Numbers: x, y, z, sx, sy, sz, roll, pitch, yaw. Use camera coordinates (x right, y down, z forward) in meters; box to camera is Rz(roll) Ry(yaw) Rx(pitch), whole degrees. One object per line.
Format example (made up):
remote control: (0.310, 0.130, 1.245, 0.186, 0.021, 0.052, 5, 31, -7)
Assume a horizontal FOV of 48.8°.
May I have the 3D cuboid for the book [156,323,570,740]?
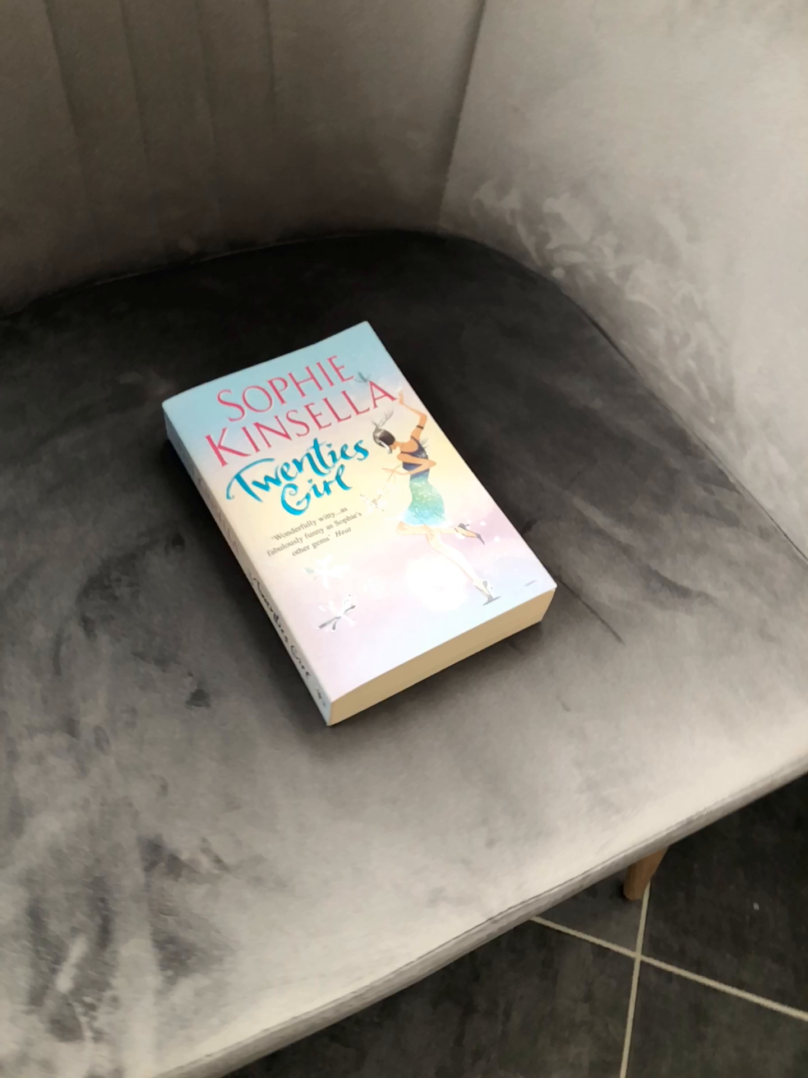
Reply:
book: (-0.028, -0.016, 0.474, 0.132, 0.043, 0.200, -23, 63, -22)
